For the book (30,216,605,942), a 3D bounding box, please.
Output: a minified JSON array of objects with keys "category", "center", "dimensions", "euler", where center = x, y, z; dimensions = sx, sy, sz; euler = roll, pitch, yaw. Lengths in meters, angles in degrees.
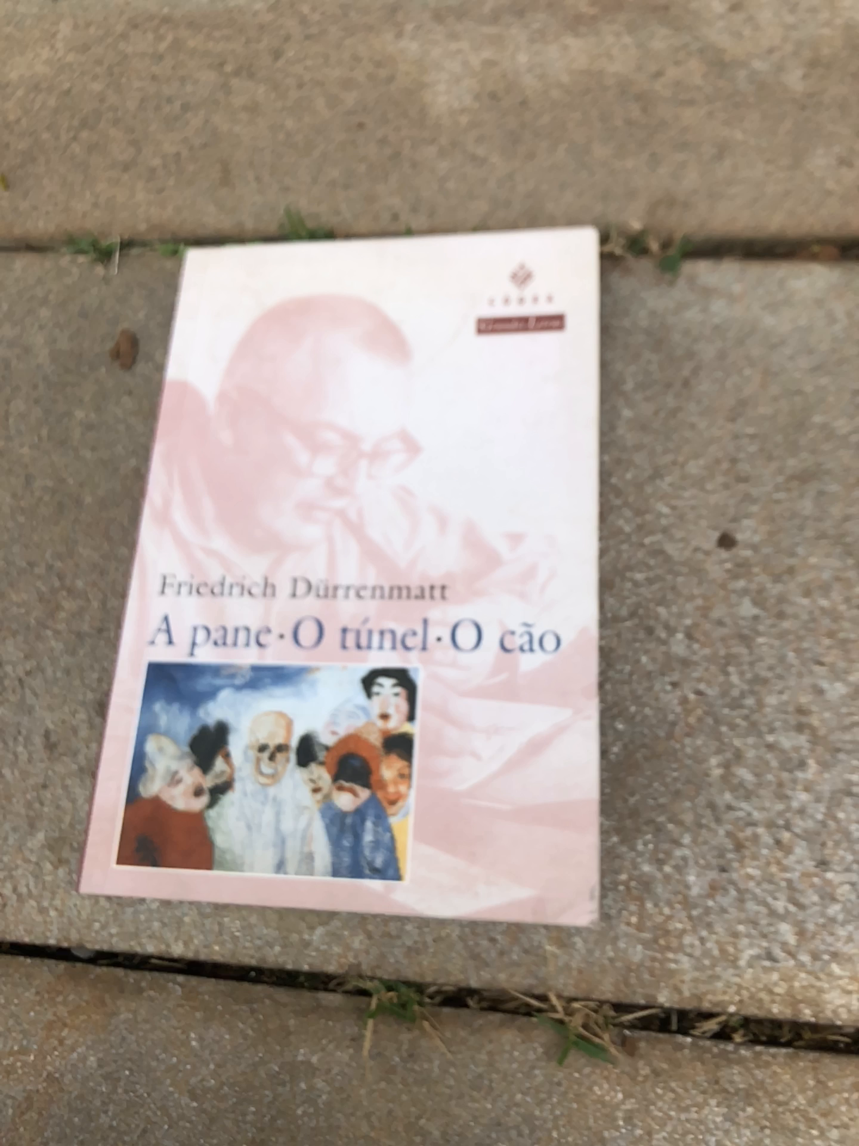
[{"category":"book","center":[-0.023,-0.009,0.269],"dimensions":[0.140,0.015,0.200],"euler":[1,71,8]}]
